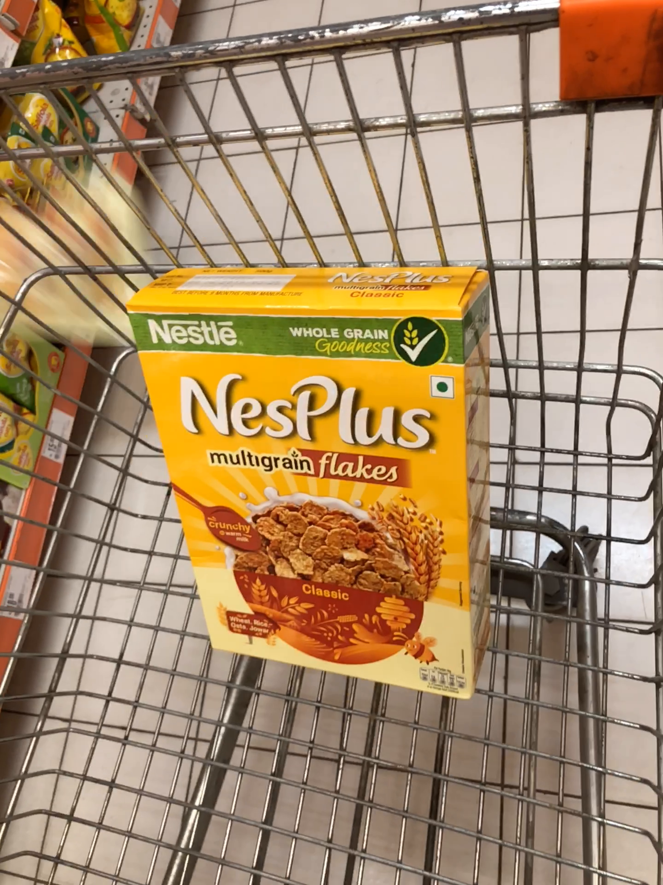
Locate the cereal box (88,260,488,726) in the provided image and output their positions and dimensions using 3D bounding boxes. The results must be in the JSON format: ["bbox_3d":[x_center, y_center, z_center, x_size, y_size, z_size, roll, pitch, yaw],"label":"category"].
[{"bbox_3d":[-0.010,0.027,0.441,0.190,0.249,0.090,5,29,20],"label":"cereal box"}]
